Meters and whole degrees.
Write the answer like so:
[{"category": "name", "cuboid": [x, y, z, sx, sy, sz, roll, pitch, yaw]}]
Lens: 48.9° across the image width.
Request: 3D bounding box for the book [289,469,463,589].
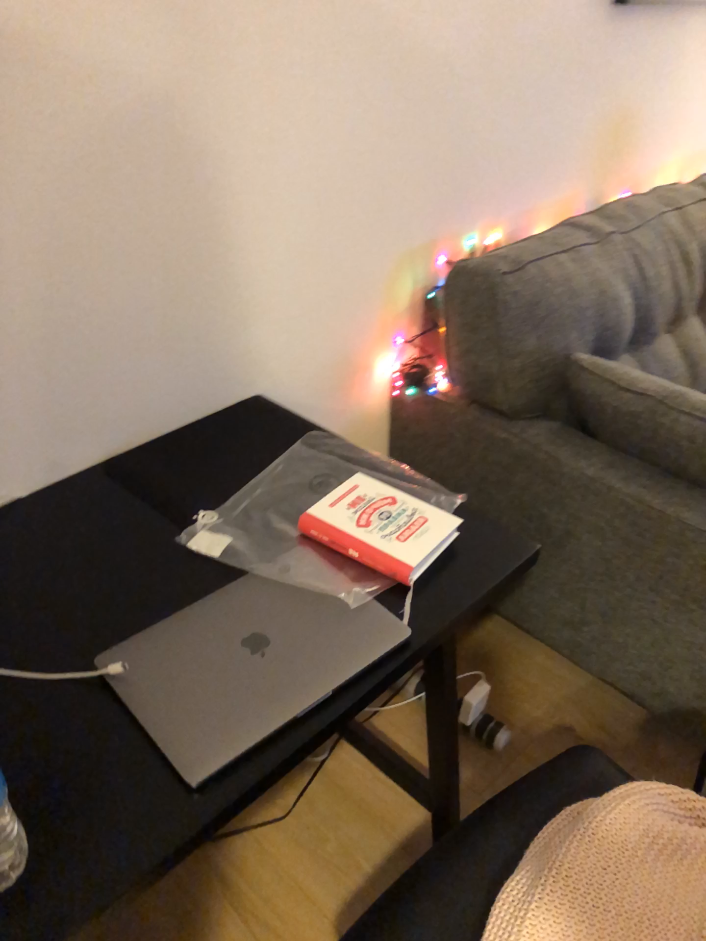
[{"category": "book", "cuboid": [0.031, 0.073, 1.060, 0.190, 0.030, 0.141, 22, 39, 27]}]
